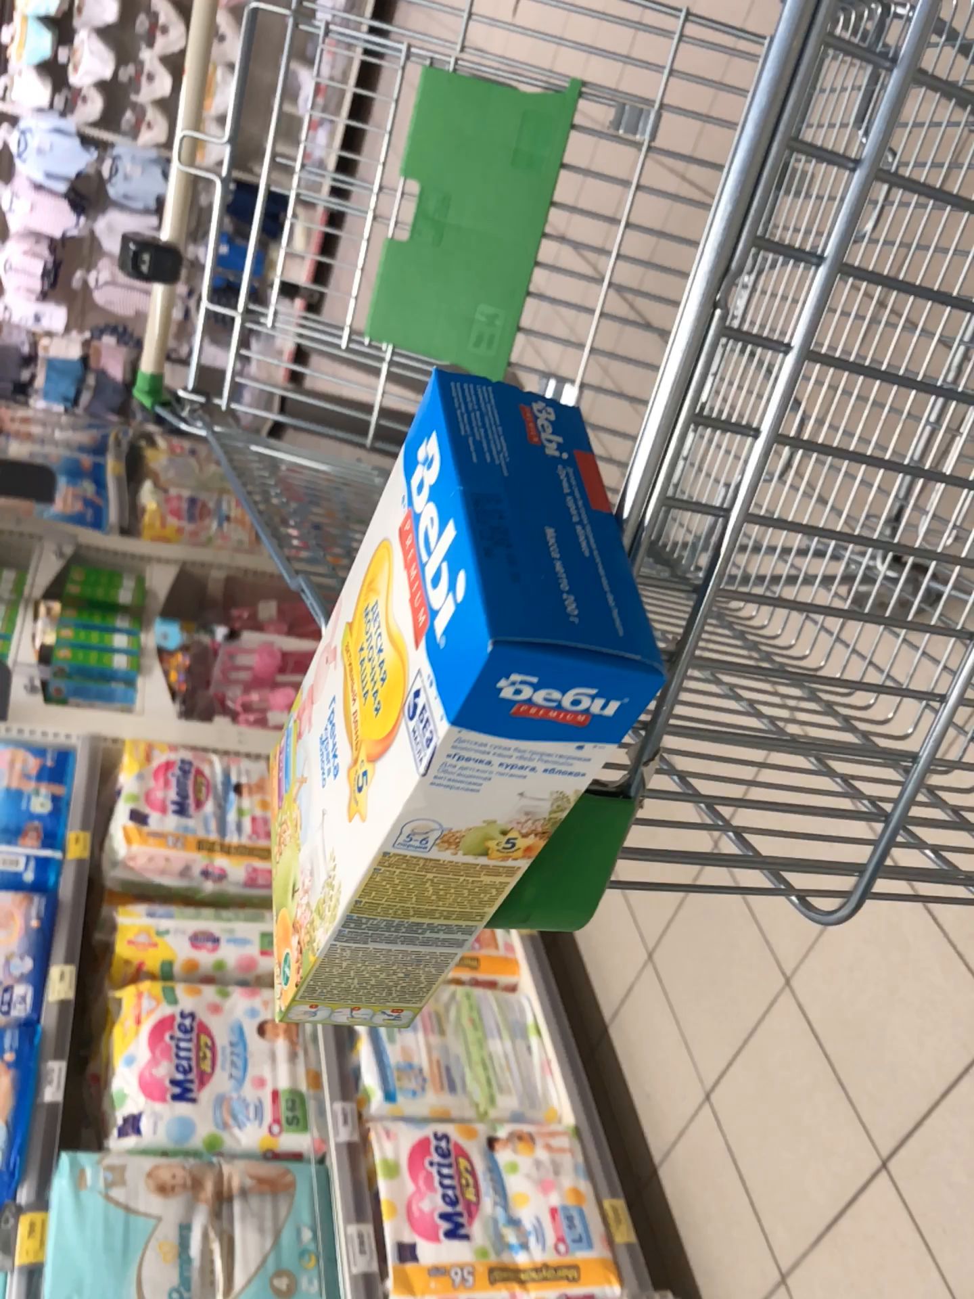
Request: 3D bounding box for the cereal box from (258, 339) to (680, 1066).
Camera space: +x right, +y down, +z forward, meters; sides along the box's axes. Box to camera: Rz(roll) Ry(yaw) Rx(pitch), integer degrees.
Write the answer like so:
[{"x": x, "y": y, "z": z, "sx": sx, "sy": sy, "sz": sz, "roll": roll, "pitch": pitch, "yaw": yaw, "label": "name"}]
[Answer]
[{"x": -0.026, "y": 0.028, "z": 0.365, "sx": 0.140, "sy": 0.050, "sz": 0.211, "roll": -100, "pitch": 30, "yaw": -42, "label": "cereal box"}]
